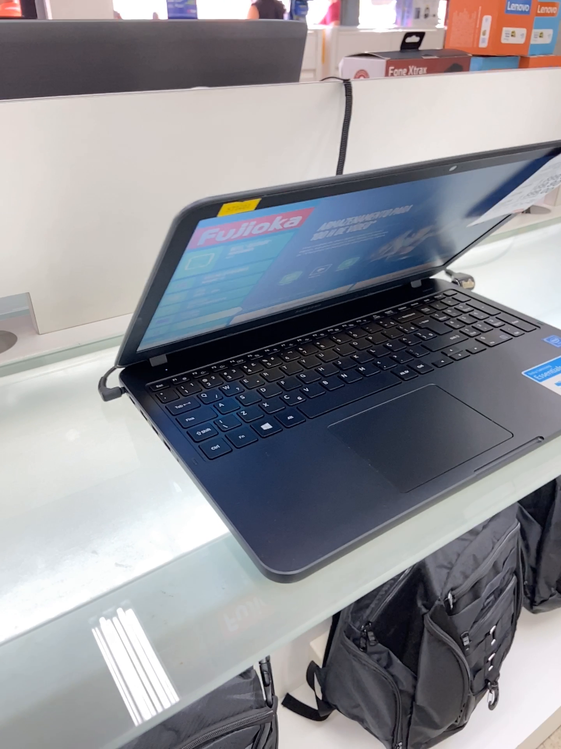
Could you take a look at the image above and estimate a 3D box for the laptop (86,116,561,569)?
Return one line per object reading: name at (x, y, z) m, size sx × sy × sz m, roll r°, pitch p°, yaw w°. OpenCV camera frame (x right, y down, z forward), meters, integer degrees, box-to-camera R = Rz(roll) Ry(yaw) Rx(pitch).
laptop at (0.091, -0.077, 0.439) m, size 0.373 × 0.173 × 0.246 m, roll -19°, pitch 36°, yaw -29°
